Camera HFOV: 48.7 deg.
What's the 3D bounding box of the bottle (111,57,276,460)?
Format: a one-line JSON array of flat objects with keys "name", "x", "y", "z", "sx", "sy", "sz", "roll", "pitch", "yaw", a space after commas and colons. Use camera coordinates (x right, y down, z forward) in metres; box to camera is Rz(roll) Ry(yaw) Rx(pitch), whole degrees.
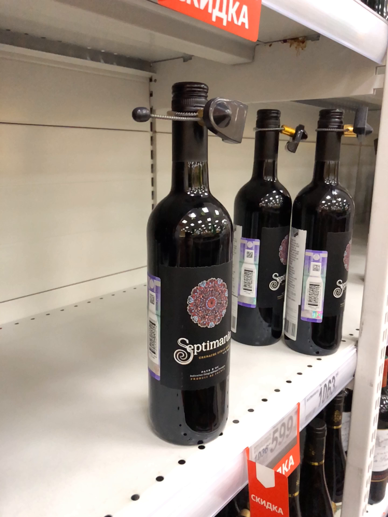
[{"name": "bottle", "x": -0.003, "y": 0.000, "z": 0.363, "sx": 0.090, "sy": 0.291, "sz": 0.090, "roll": 1, "pitch": 13, "yaw": 0}]
